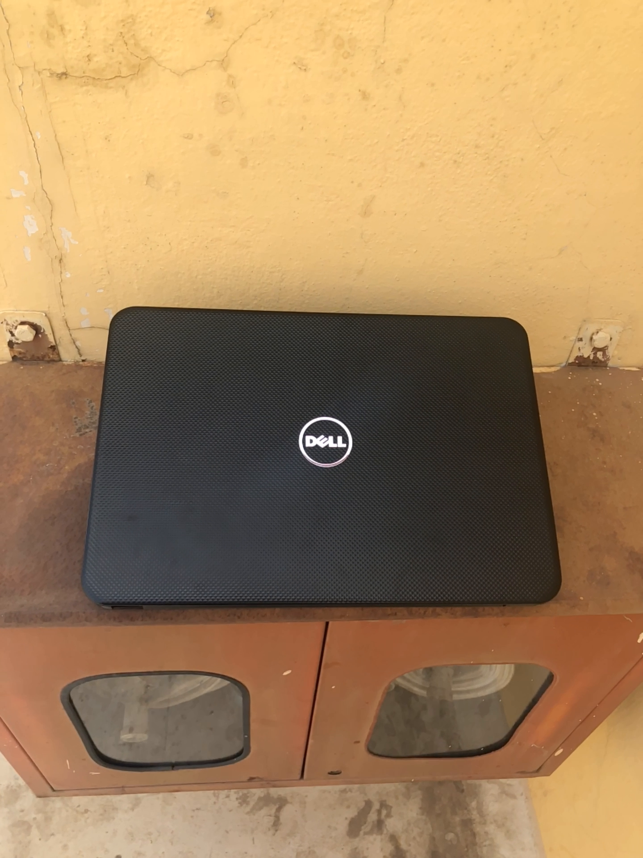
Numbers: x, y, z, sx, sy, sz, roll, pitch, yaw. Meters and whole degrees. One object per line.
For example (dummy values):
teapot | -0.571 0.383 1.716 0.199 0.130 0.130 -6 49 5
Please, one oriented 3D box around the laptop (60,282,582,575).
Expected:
laptop | 0.001 -0.002 0.560 0.352 0.098 0.184 1 58 -4
